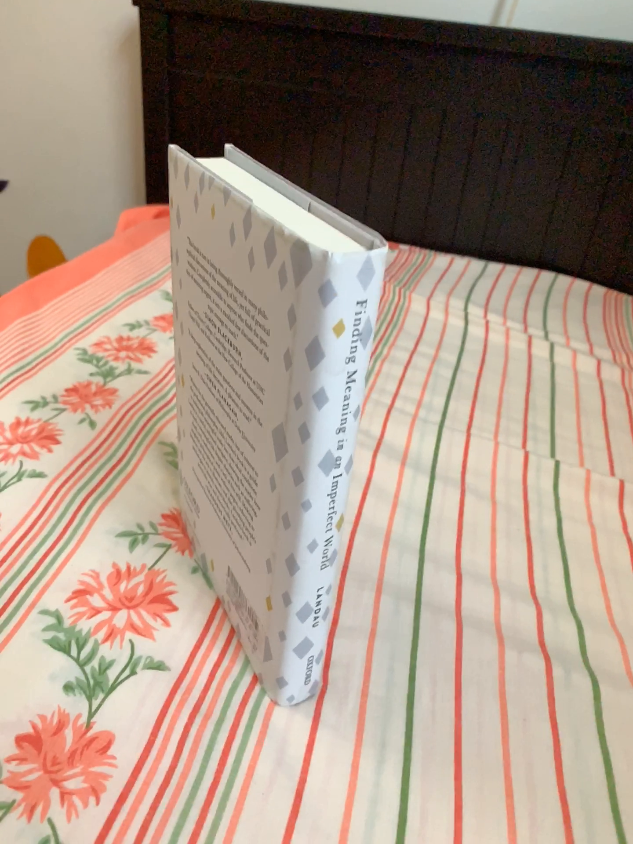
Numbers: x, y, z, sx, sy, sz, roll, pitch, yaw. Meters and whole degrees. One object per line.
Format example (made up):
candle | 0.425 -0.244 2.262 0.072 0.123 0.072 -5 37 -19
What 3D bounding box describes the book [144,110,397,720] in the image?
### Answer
book | -0.036 -0.007 0.294 0.030 0.218 0.161 -11 36 -25
